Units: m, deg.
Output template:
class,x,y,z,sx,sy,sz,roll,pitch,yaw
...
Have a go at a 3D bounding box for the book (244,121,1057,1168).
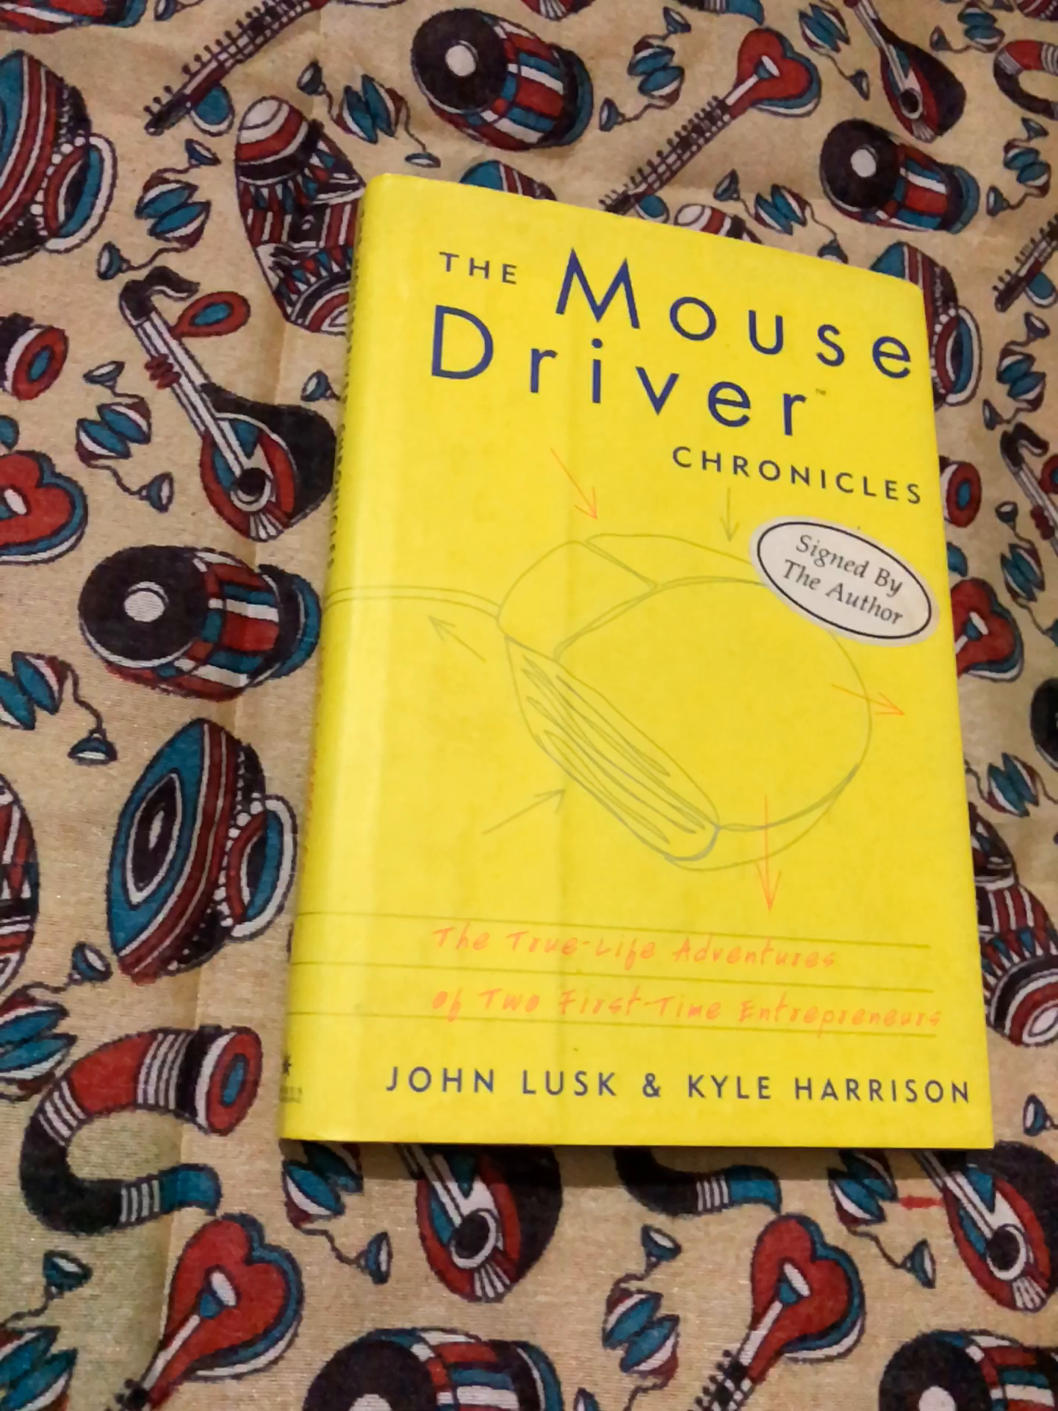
class,x,y,z,sx,sy,sz,roll,pitch,yaw
book,0.029,-0.014,0.267,0.160,0.040,0.220,6,68,-15
